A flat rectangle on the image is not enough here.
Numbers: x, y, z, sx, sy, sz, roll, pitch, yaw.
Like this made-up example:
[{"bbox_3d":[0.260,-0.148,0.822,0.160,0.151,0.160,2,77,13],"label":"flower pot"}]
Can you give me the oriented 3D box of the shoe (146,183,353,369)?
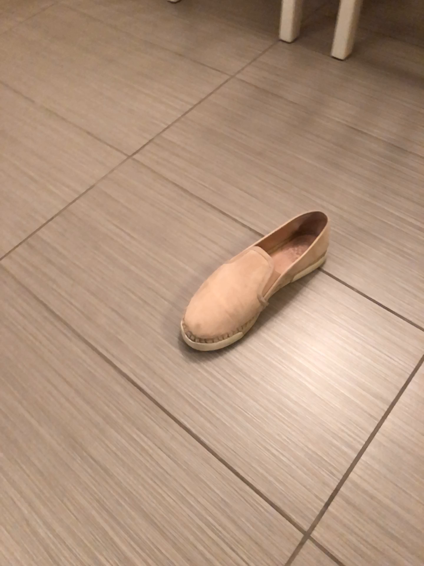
[{"bbox_3d":[0.057,-0.018,0.649,0.271,0.070,0.110,-37,59,-18],"label":"shoe"}]
